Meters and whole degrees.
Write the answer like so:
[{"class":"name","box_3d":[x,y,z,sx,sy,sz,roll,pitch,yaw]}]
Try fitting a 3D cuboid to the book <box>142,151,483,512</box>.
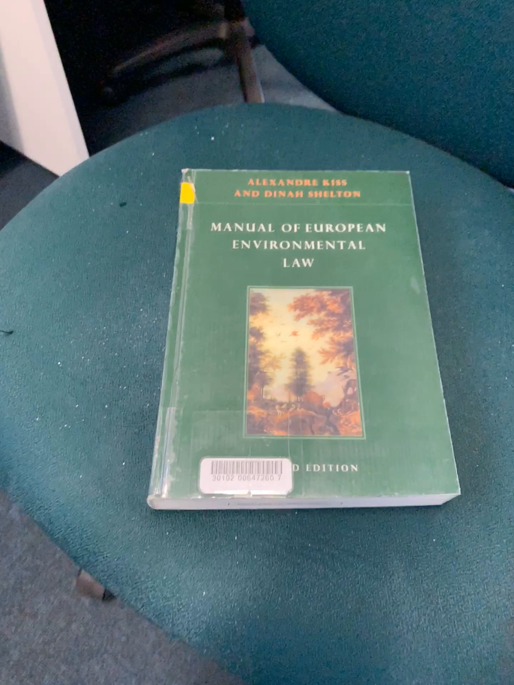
[{"class":"book","box_3d":[0.029,-0.020,0.354,0.180,0.040,0.251,0,63,-1]}]
